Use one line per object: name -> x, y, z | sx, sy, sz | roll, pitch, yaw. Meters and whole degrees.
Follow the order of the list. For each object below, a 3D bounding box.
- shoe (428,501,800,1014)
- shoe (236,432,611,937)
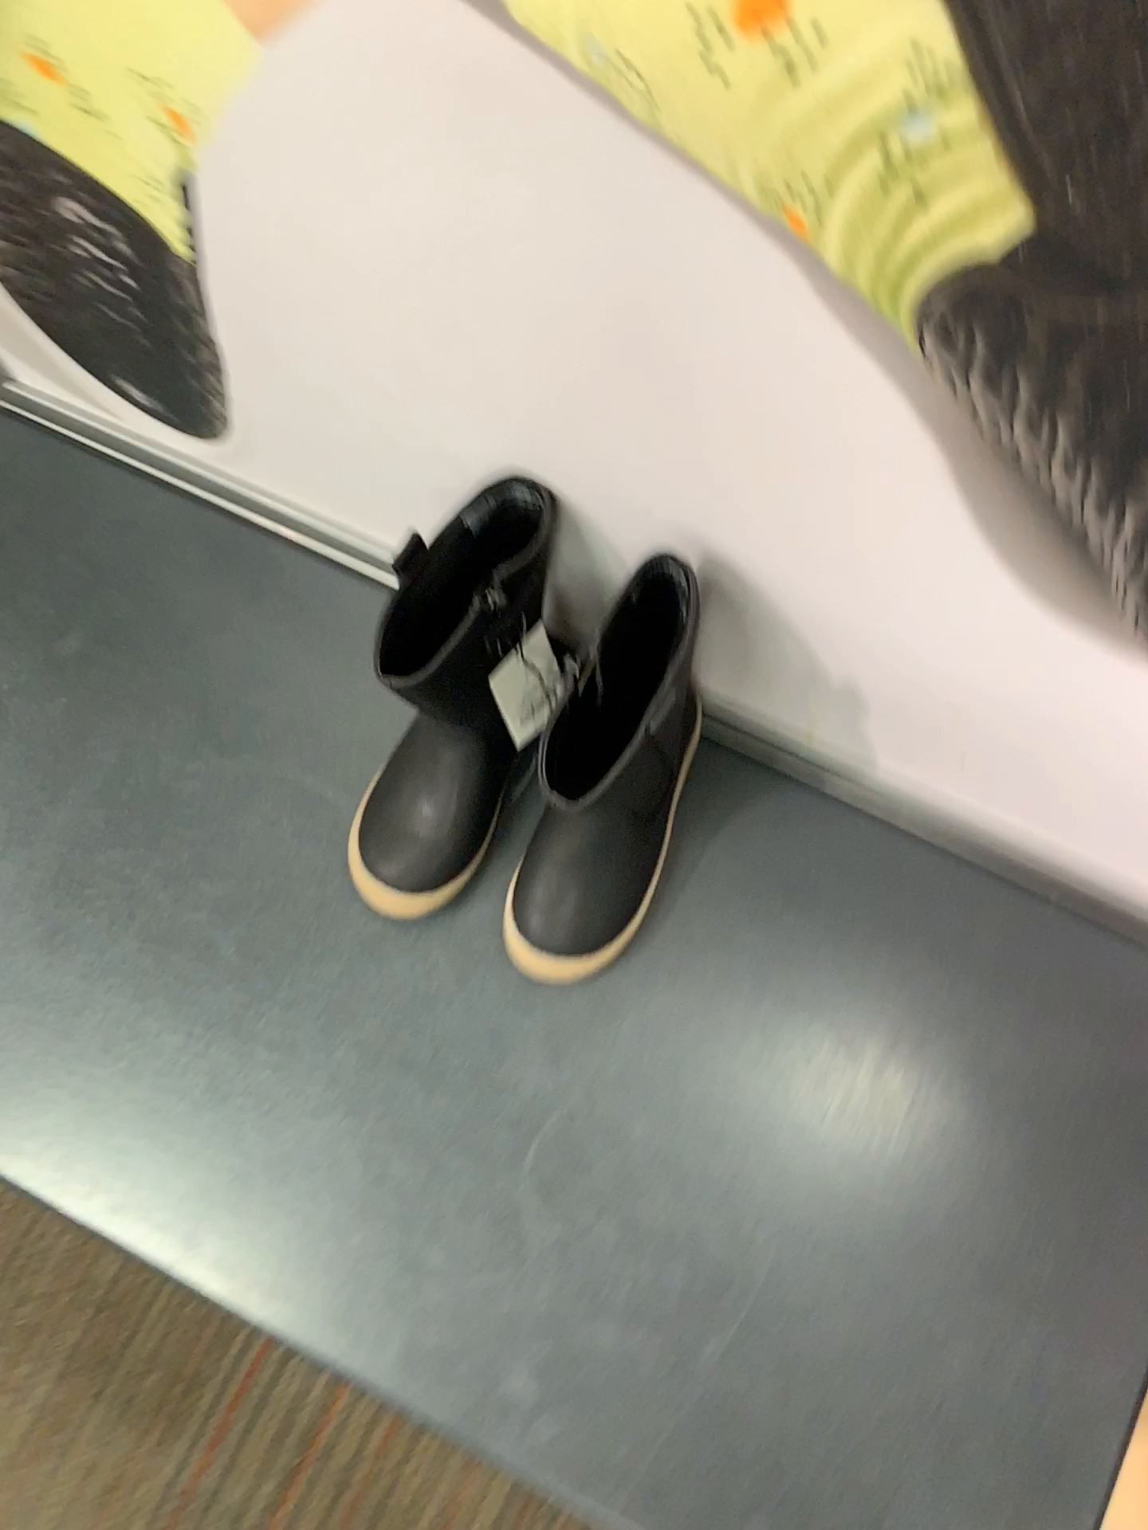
shoe -> 0.021, 0.010, 0.591 | 0.080, 0.200, 0.190 | 26, 74, 9
shoe -> -0.062, -0.028, 0.618 | 0.080, 0.200, 0.190 | 27, 75, 9
